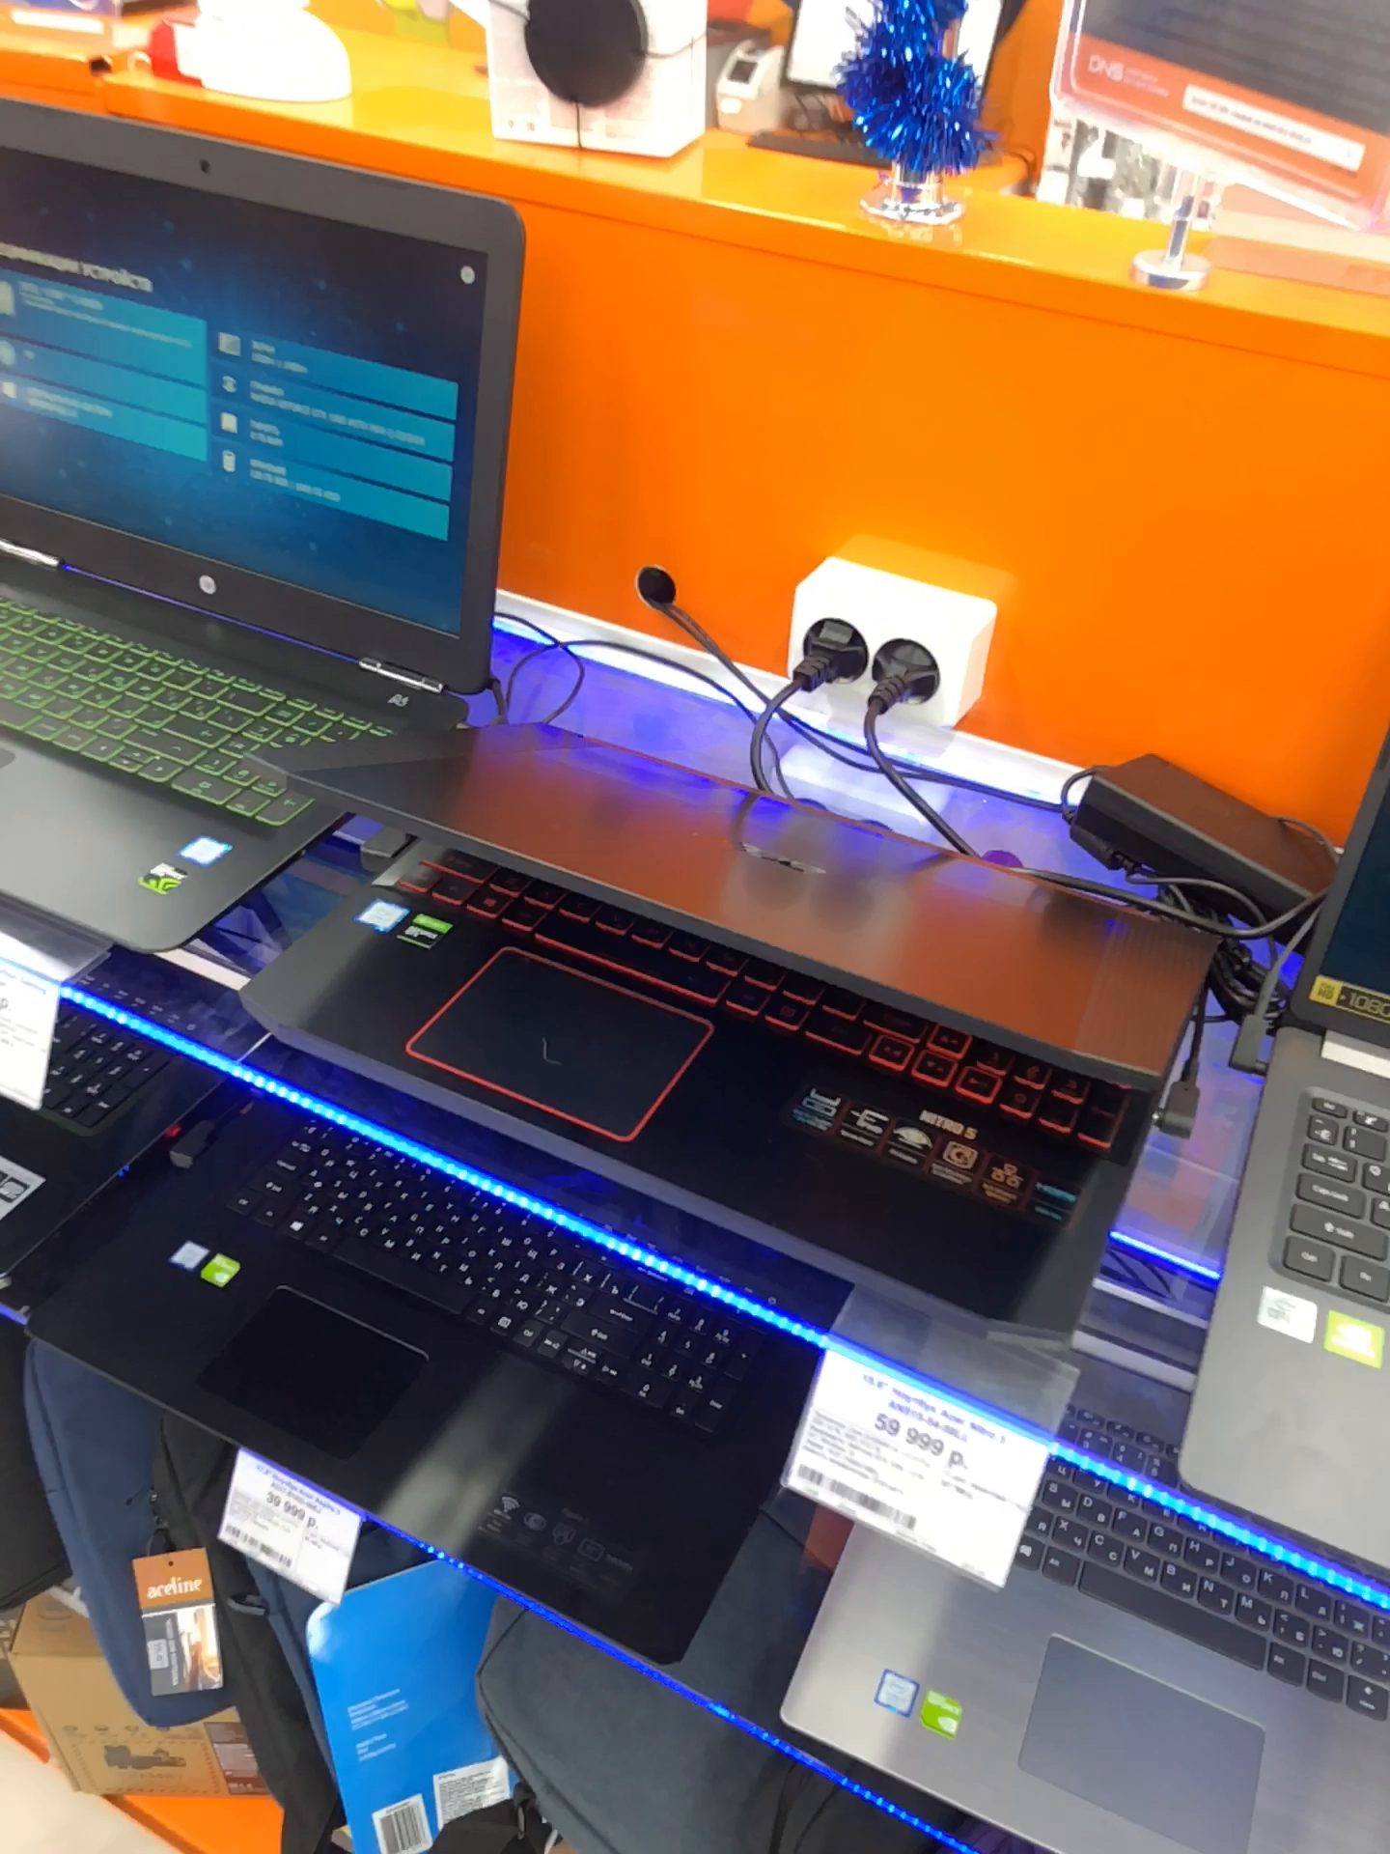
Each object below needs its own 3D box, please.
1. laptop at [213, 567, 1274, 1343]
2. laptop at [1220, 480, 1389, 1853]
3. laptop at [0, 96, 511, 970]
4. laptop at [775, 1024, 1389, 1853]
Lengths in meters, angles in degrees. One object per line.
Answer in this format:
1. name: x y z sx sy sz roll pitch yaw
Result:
1. laptop: 0.028 -0.017 0.648 0.358 0.103 0.249 20 40 18
2. laptop: 0.392 0.057 0.480 0.343 0.226 0.313 18 40 18
3. laptop: -0.340 -0.234 0.776 0.415 0.250 0.311 19 40 19
4. laptop: 0.297 0.270 0.700 0.404 0.220 0.297 18 39 19
